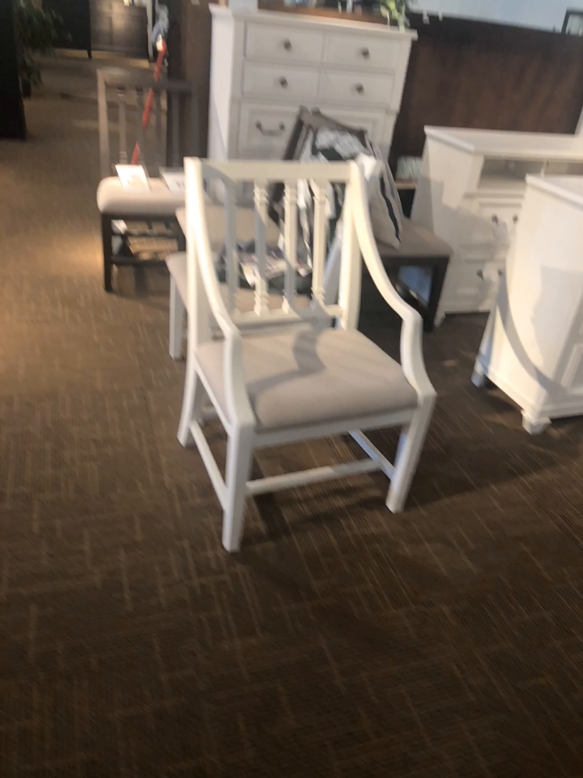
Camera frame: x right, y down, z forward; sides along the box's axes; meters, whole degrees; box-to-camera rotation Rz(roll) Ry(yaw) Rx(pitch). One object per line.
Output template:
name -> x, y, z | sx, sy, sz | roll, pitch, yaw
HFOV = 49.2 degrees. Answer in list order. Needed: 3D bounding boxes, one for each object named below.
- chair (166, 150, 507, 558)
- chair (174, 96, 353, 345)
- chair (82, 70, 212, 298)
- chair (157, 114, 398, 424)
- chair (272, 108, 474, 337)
chair -> 0.032, -0.133, 1.801 | 0.651, 0.885, 0.633 | -6, 32, -20
chair -> -0.184, -0.764, 2.860 | 0.580, 0.885, 0.683 | -4, 32, -18
chair -> -0.728, -1.025, 3.212 | 0.540, 0.955, 0.603 | -2, 31, -14
chair -> -0.113, -0.429, 2.247 | 0.640, 0.885, 0.563 | -4, 32, -18
chair -> 0.338, -0.871, 3.252 | 0.600, 0.885, 0.874 | -4, 32, -17
